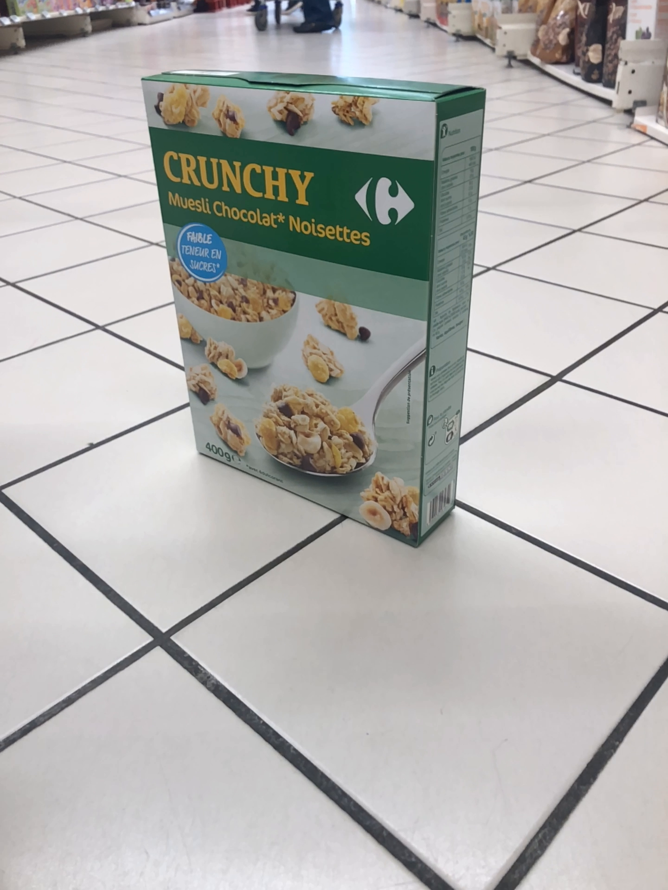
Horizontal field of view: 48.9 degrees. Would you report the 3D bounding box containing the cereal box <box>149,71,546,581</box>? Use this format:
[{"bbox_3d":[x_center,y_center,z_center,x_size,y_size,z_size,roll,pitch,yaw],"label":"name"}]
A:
[{"bbox_3d":[0.001,-0.072,0.427,0.200,0.249,0.060,21,38,33],"label":"cereal box"}]
